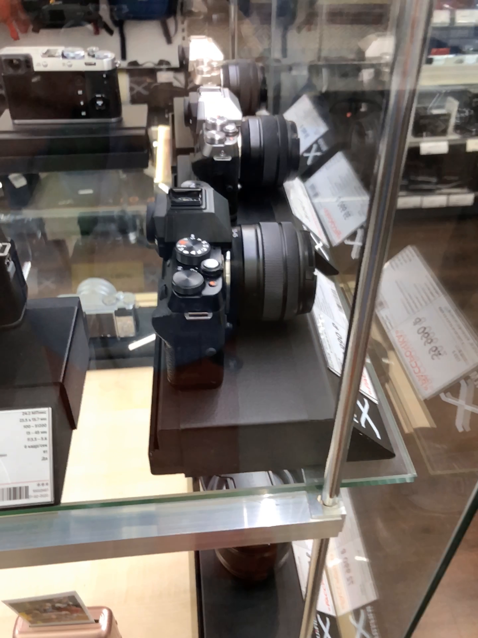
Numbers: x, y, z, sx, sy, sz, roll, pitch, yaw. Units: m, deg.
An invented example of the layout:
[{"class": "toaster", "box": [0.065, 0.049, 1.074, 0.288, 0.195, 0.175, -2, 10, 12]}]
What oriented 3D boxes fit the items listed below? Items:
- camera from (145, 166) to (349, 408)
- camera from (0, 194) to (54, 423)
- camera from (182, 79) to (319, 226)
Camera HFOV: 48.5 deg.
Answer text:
[{"class": "camera", "box": [-0.001, -0.024, 0.320, 0.095, 0.090, 0.121, -2, 39, -4]}, {"class": "camera", "box": [-0.177, -0.011, 0.289, 0.120, 0.069, 0.100, -4, 39, -7]}, {"class": "camera", "box": [0.003, -0.145, 0.453, 0.099, 0.078, 0.121, -3, 39, -5]}]
